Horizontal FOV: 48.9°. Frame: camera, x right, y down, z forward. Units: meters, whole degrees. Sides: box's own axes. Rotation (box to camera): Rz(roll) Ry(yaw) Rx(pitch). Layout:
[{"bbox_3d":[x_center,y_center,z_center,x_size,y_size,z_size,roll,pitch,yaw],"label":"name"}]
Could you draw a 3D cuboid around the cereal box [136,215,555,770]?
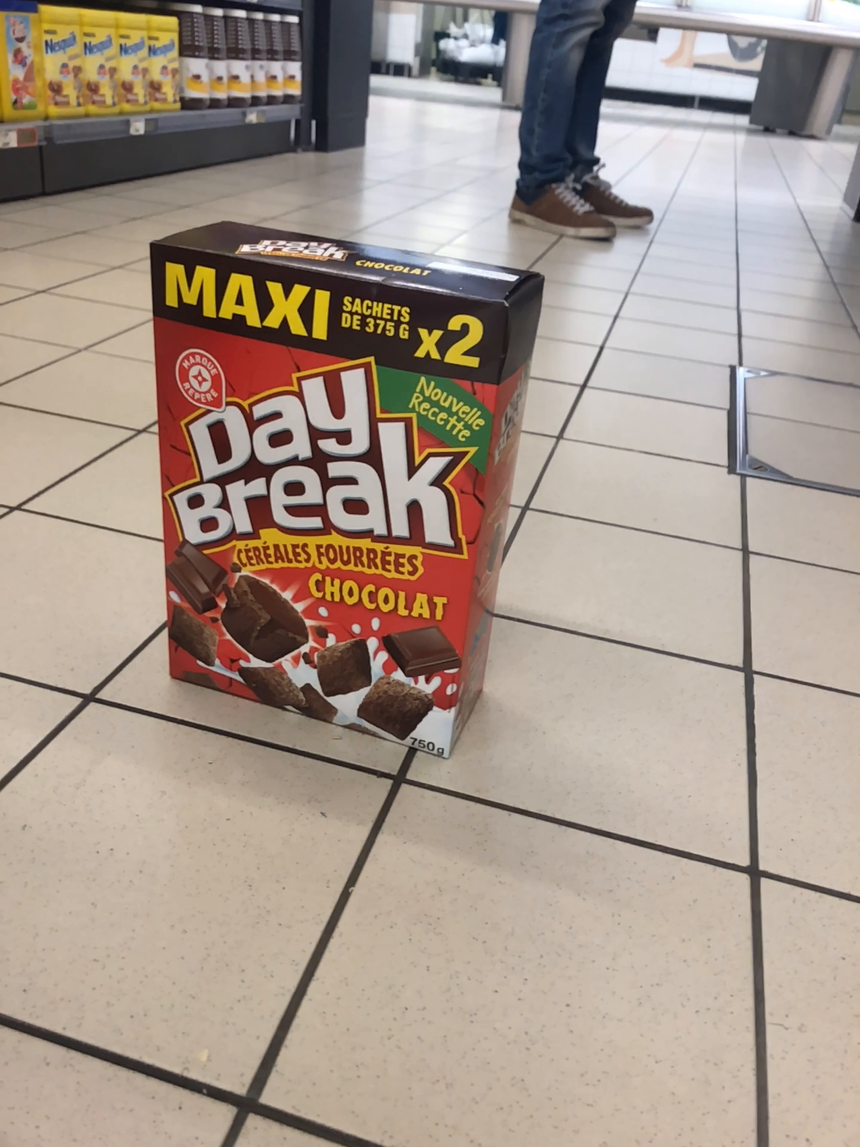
[{"bbox_3d":[-0.053,-0.048,0.562,0.200,0.278,0.091,14,29,16],"label":"cereal box"}]
